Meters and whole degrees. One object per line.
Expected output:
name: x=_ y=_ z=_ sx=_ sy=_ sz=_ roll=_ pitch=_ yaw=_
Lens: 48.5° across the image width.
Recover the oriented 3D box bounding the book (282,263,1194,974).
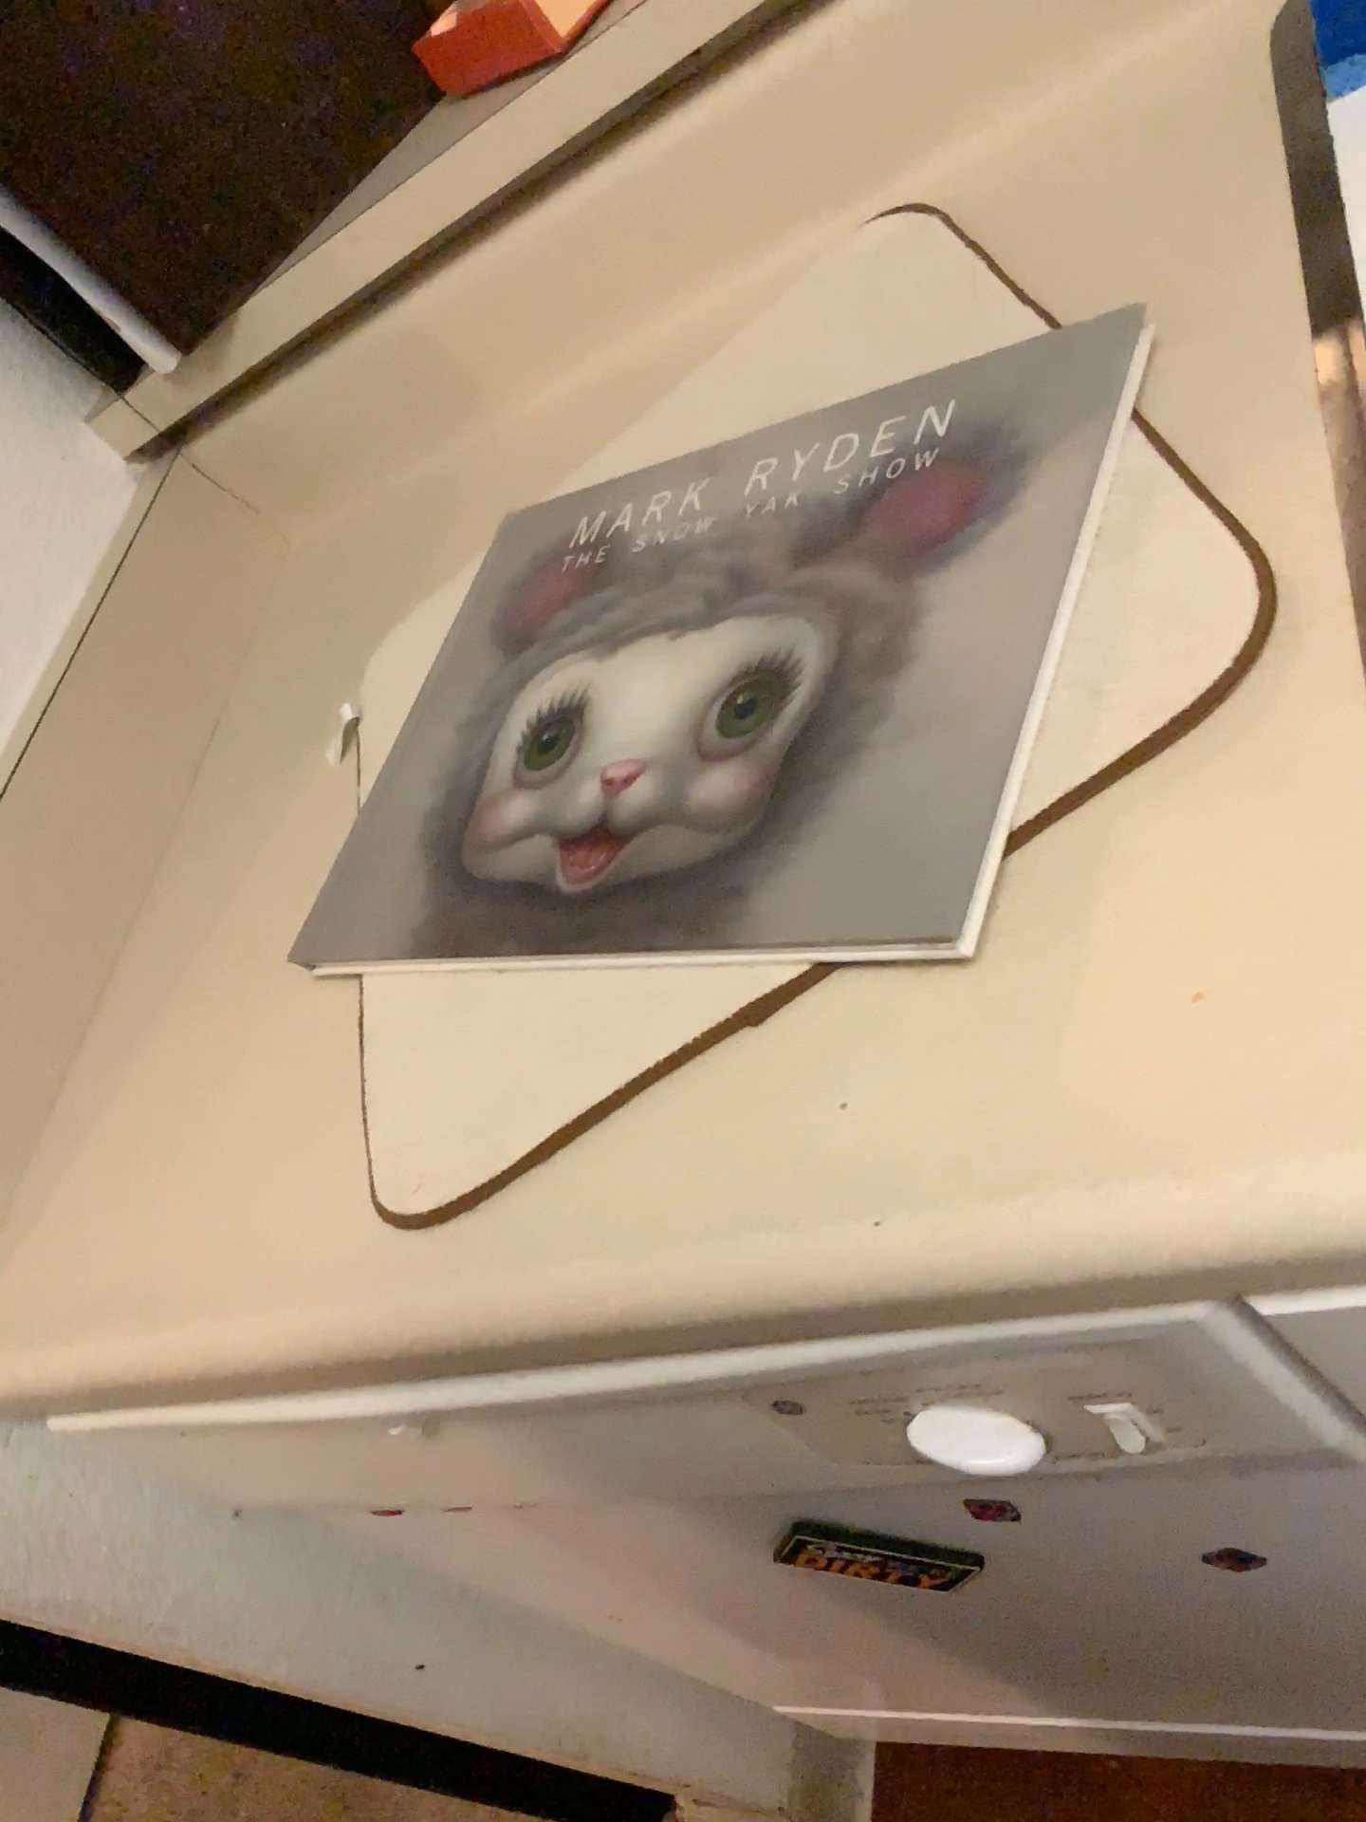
book: x=0.004 y=-0.107 z=0.647 sx=0.380 sy=0.020 sz=0.290 roll=-3 pitch=56 yaw=43
